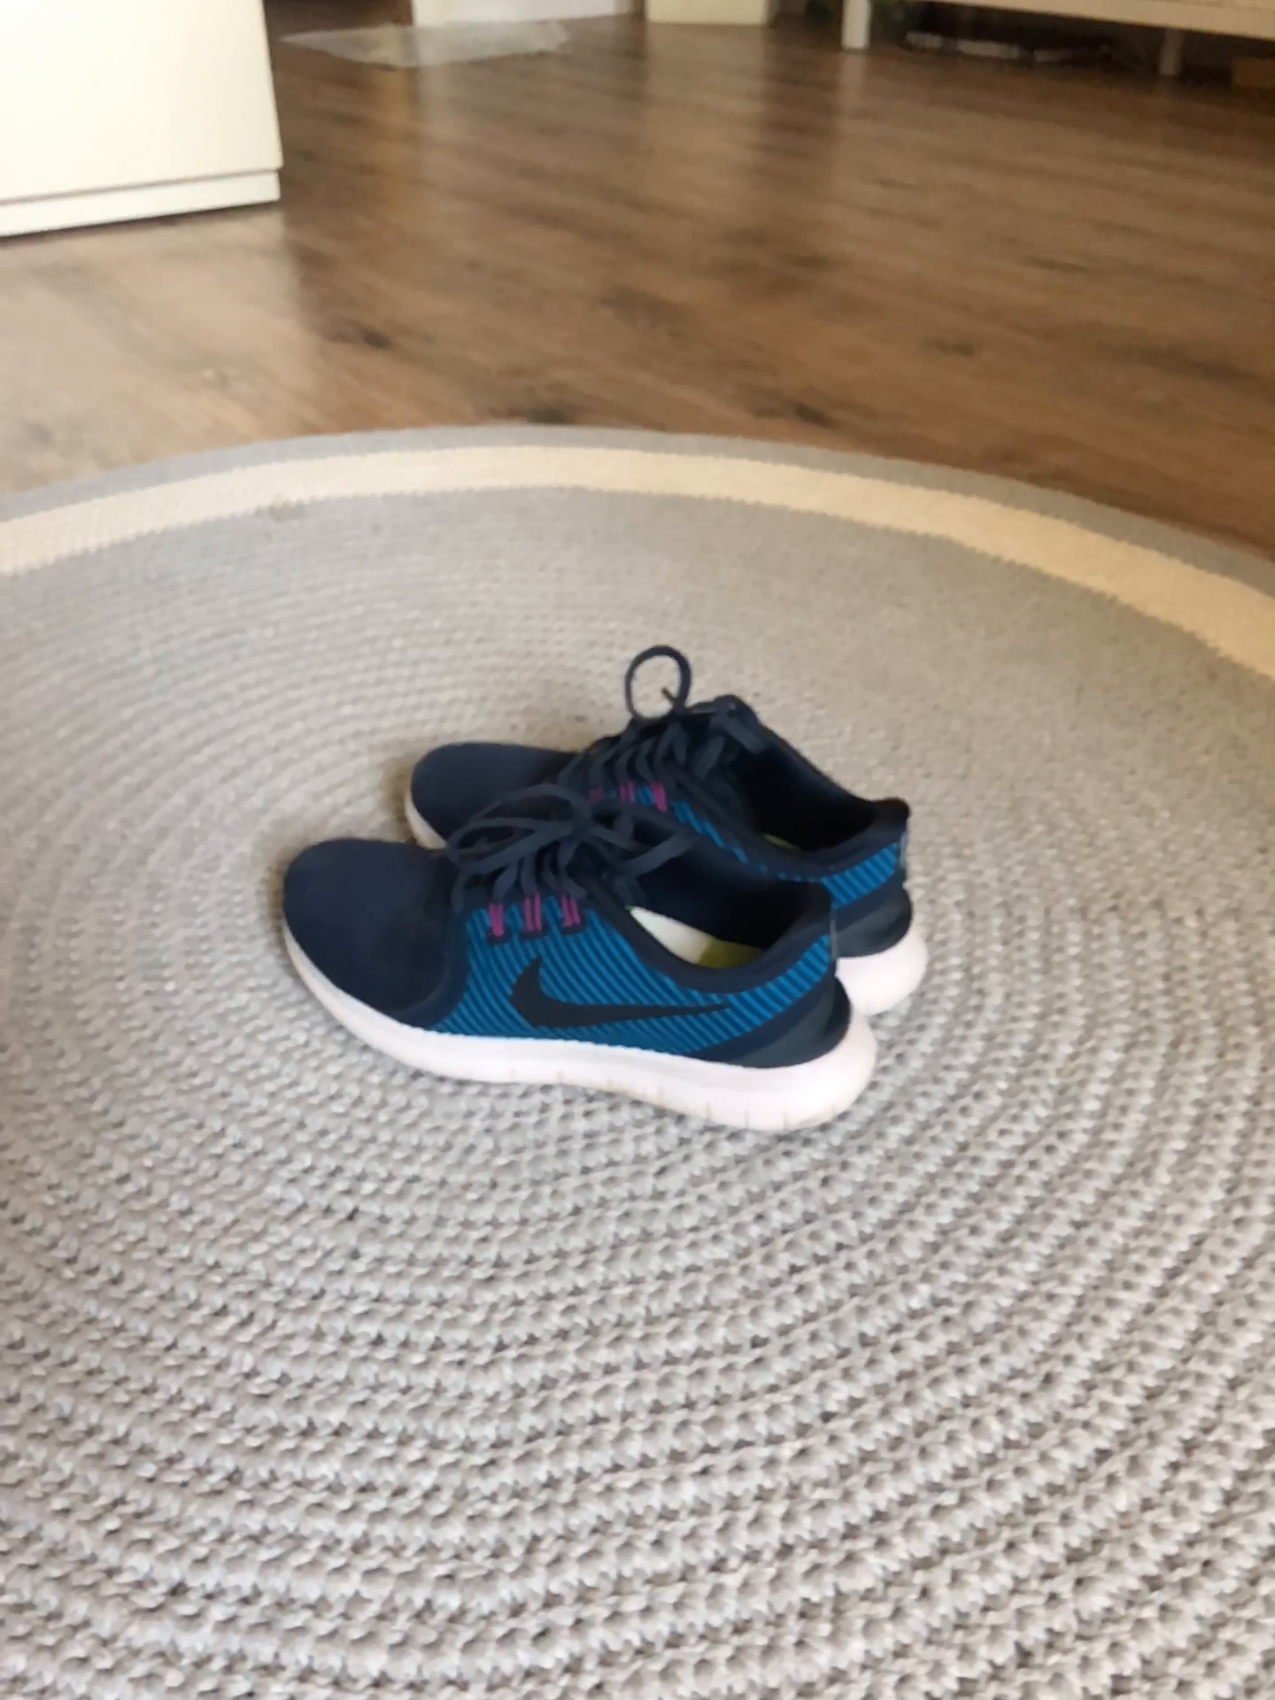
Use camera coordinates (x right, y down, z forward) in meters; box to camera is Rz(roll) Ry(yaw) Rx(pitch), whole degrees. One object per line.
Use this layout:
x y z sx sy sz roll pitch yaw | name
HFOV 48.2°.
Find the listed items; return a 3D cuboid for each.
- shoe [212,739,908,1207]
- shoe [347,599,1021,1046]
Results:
-0.030 0.040 0.563 0.244 0.080 0.100 14 37 19 | shoe
0.014 -0.023 0.623 0.270 0.080 0.100 20 39 25 | shoe
